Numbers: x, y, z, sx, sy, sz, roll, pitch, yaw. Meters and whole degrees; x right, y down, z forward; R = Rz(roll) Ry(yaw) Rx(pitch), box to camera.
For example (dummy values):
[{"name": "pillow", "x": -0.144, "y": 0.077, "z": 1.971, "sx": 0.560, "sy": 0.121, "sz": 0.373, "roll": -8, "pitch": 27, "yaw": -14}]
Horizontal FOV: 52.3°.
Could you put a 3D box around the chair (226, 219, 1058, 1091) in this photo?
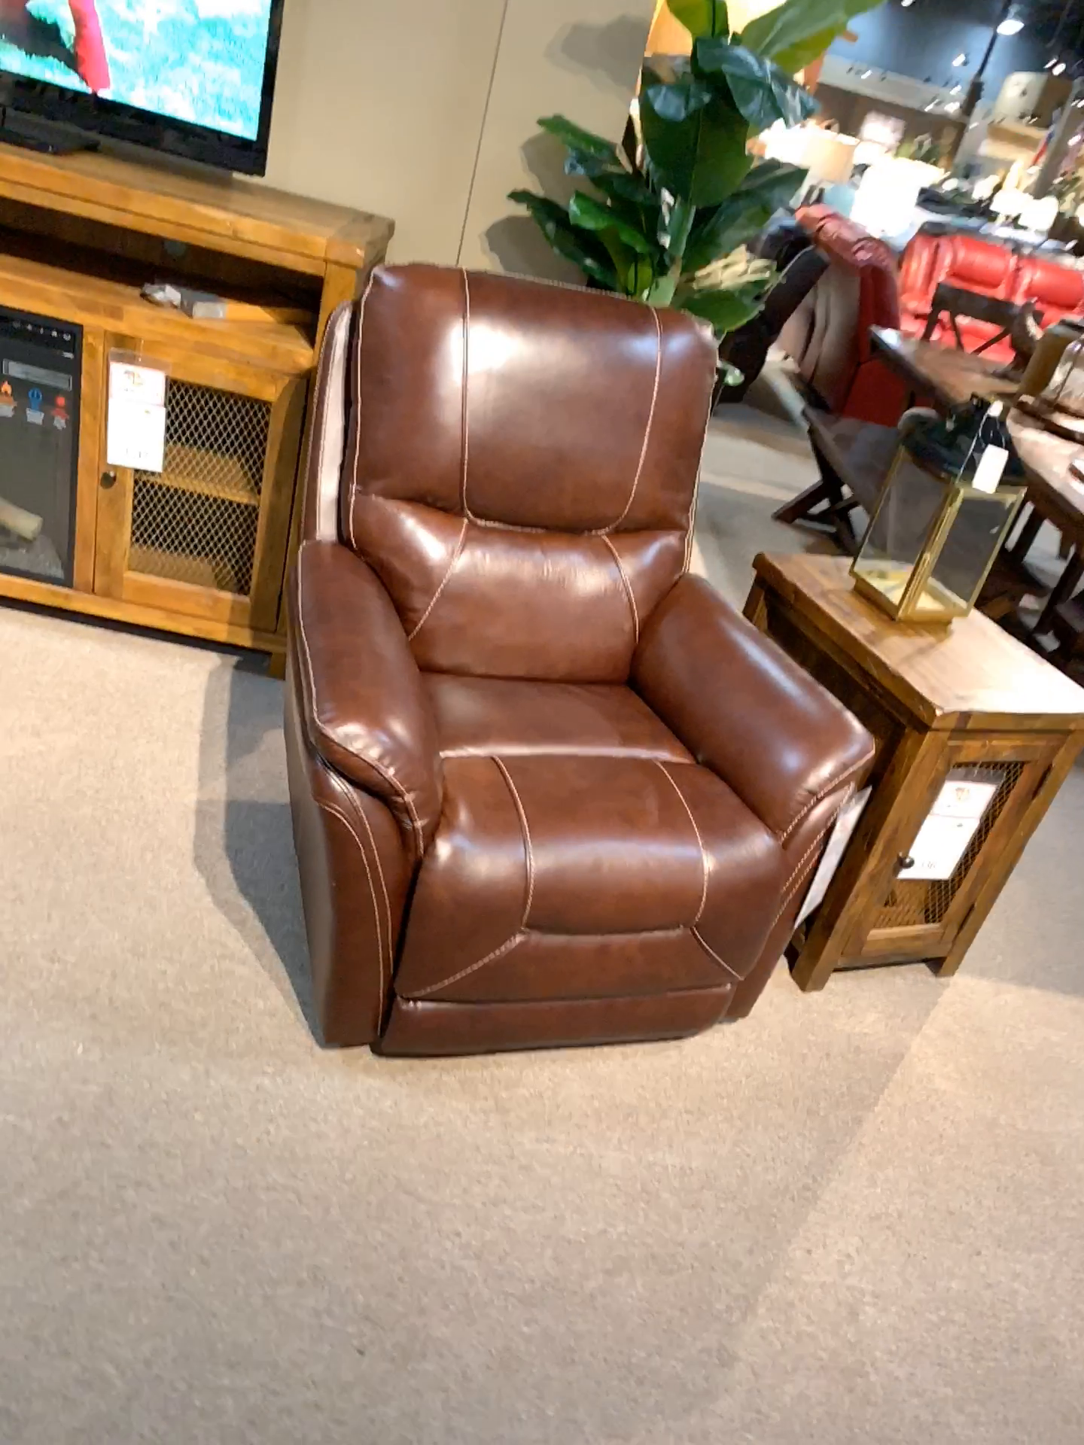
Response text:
[{"name": "chair", "x": 0.001, "y": -0.131, "z": 1.817, "sx": 0.849, "sy": 0.974, "sz": 0.916, "roll": 2, "pitch": 33, "yaw": -23}]
